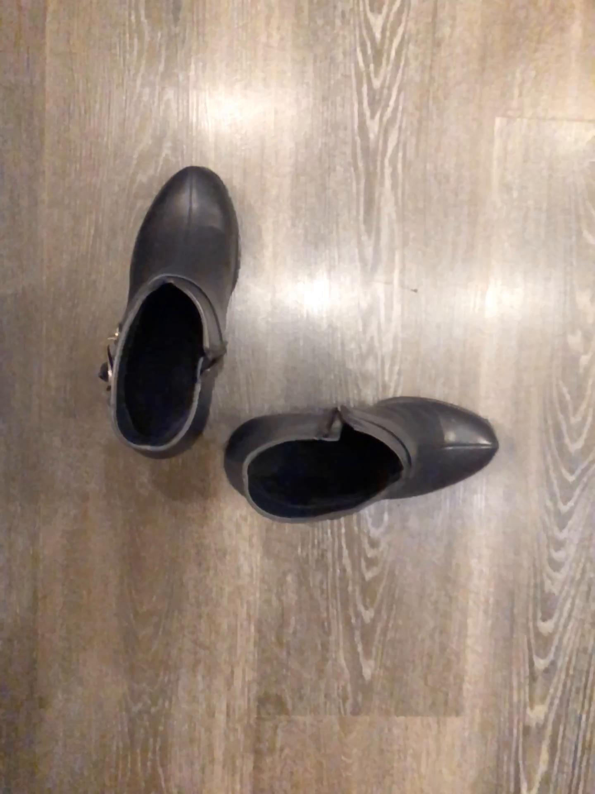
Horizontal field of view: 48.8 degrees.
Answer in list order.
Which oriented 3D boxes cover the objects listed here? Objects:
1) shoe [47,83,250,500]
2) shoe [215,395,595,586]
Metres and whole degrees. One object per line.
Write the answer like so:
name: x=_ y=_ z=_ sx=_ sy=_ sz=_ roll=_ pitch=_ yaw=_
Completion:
shoe: x=-0.093 y=-0.064 z=0.467 sx=0.090 sy=0.180 sz=0.230 roll=6 pitch=93 yaw=-3
shoe: x=0.065 y=0.057 z=0.489 sx=0.230 sy=0.200 sz=0.090 roll=3 pitch=94 yaw=-2
